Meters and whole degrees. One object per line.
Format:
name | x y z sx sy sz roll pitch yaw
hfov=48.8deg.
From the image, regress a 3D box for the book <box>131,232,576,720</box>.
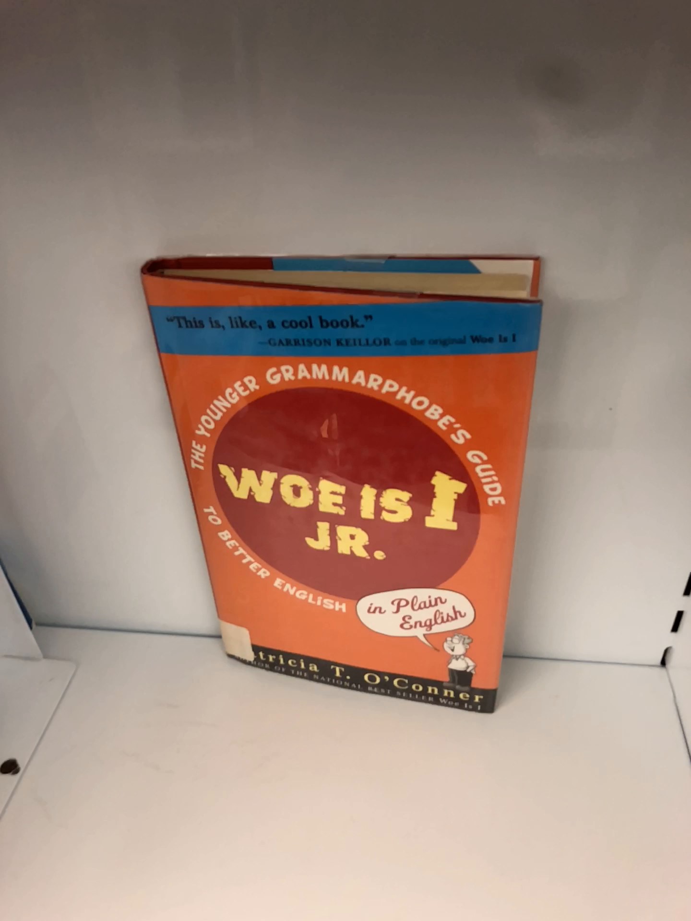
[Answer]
book | 0.006 0.016 0.303 0.137 0.199 0.038 5 36 10
